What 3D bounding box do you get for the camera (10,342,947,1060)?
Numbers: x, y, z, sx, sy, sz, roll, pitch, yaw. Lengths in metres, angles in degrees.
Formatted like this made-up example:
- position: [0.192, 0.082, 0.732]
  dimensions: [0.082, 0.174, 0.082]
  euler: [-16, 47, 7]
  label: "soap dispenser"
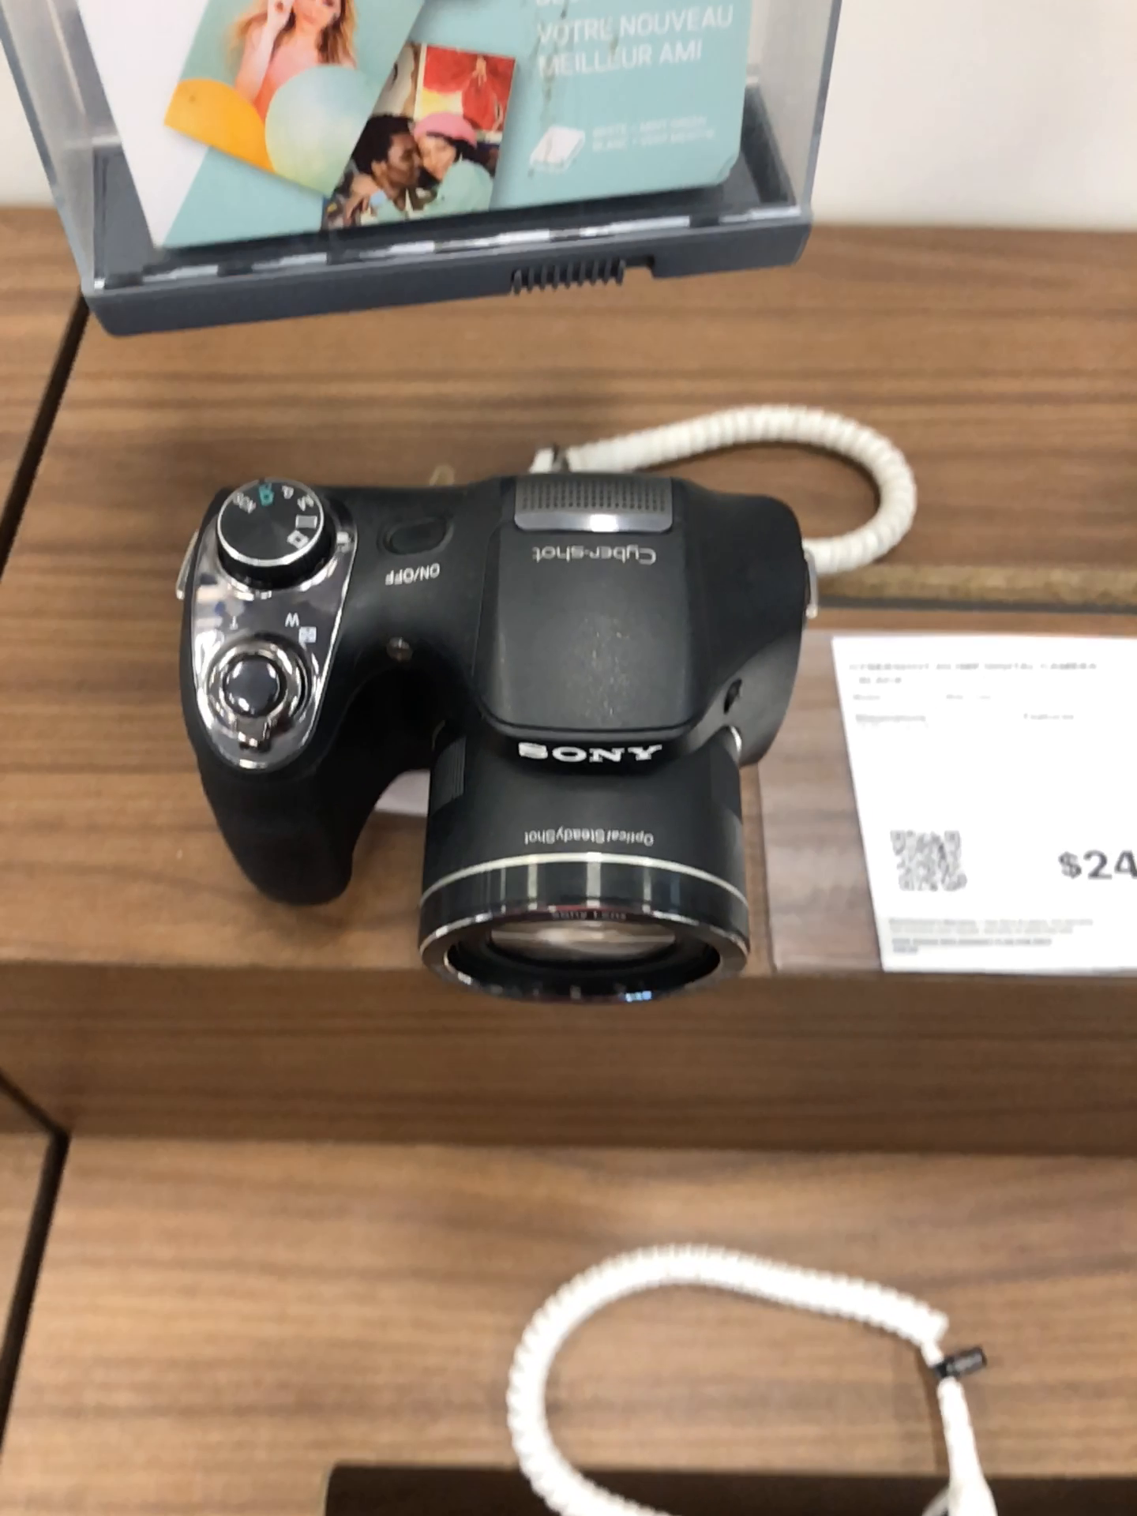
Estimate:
- position: [-0.014, -0.012, 0.258]
  dimensions: [0.140, 0.080, 0.120]
  euler: [0, 56, 0]
  label: "camera"
